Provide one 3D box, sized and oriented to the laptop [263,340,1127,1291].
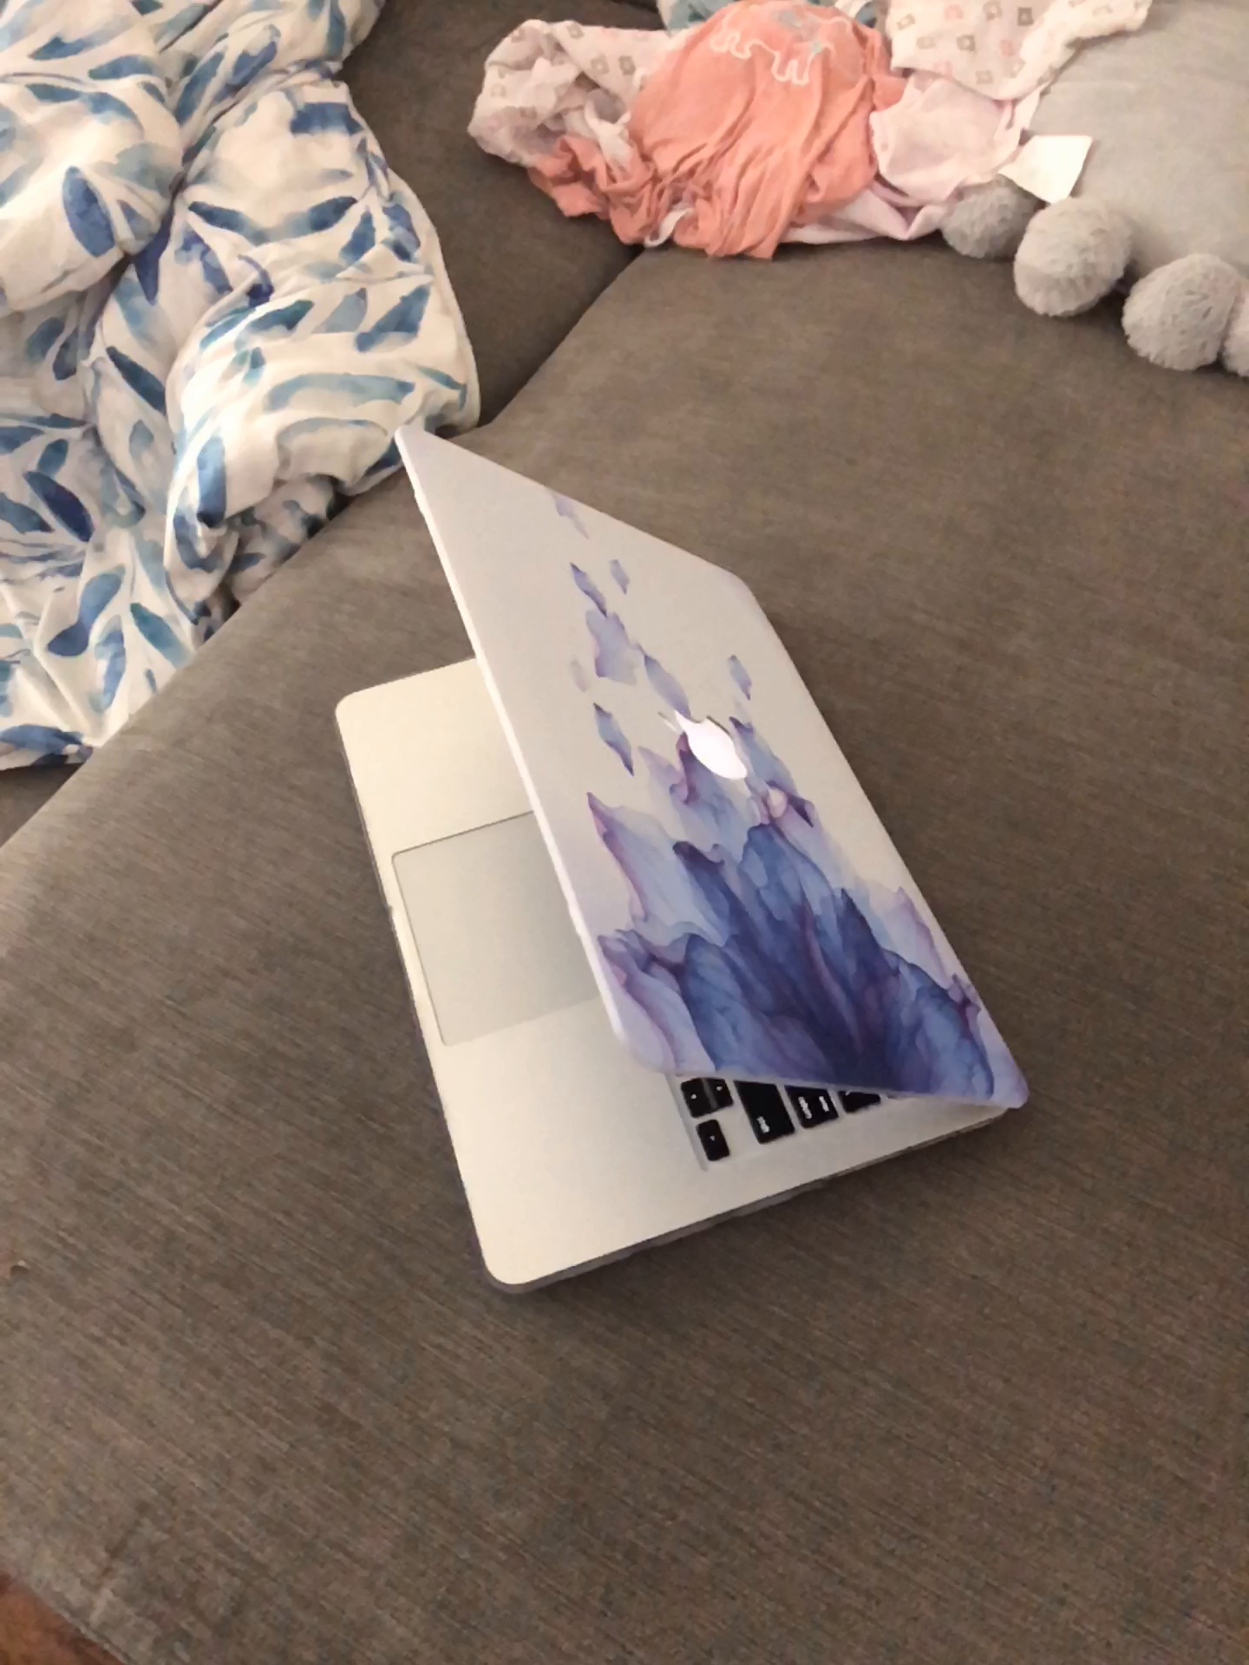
[{"bbox_3d":[0.005,-0.022,0.552,0.217,0.137,0.309,-17,56,-8],"label":"laptop"}]
